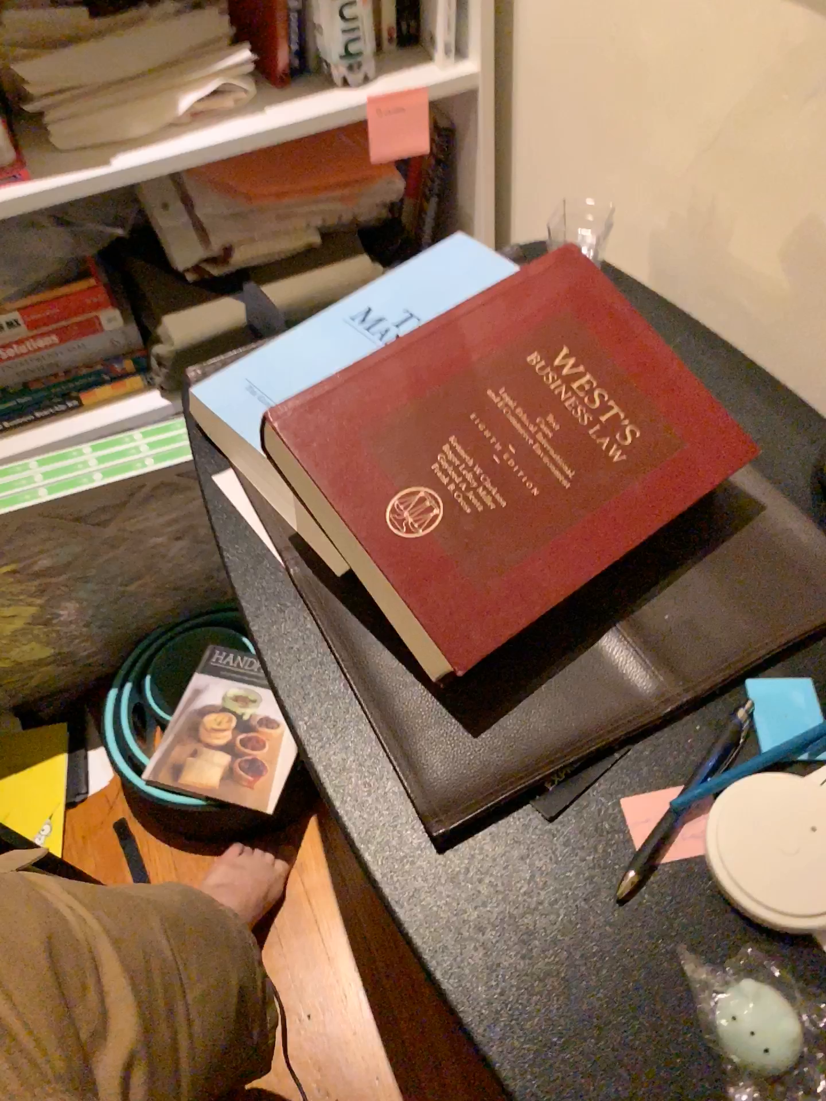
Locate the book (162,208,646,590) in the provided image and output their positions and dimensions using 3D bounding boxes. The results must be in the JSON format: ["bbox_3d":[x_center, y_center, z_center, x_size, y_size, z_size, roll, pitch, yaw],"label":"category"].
[{"bbox_3d":[-0.007,-0.131,0.635,0.270,0.070,0.221,-34,56,-20],"label":"book"}]

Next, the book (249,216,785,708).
[{"bbox_3d":[0.069,-0.068,0.544,0.270,0.050,0.210,-34,80,-20],"label":"book"}]
